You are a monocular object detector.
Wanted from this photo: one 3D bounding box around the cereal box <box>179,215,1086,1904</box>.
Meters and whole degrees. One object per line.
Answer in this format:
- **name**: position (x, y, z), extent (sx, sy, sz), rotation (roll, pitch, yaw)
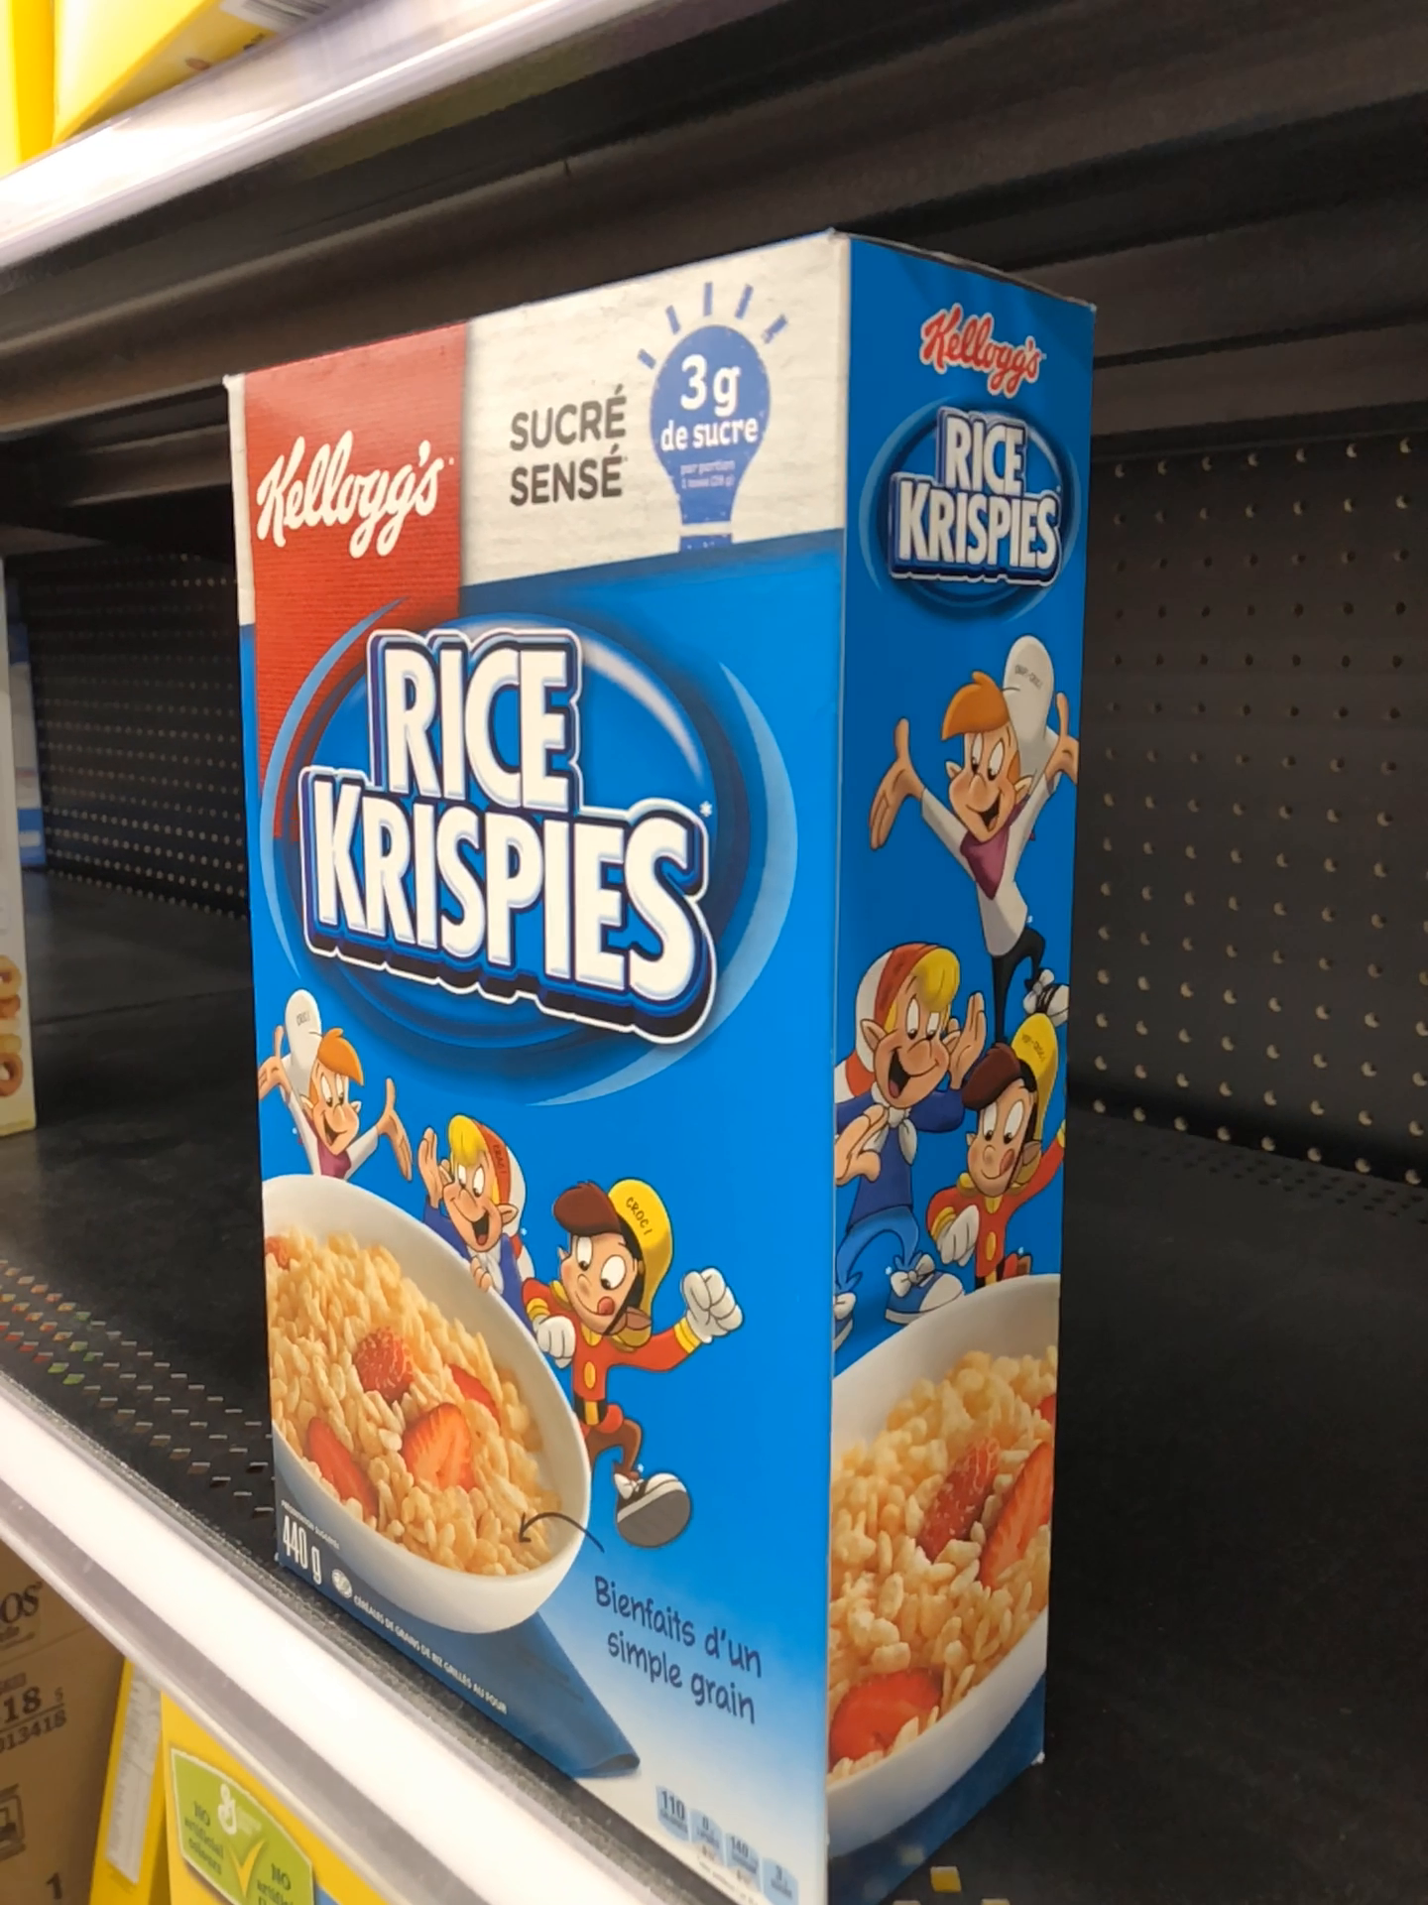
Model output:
- **cereal box**: position (-0.030, 0.018, 0.361), extent (0.080, 0.299, 0.200), rotation (-9, 13, -44)
